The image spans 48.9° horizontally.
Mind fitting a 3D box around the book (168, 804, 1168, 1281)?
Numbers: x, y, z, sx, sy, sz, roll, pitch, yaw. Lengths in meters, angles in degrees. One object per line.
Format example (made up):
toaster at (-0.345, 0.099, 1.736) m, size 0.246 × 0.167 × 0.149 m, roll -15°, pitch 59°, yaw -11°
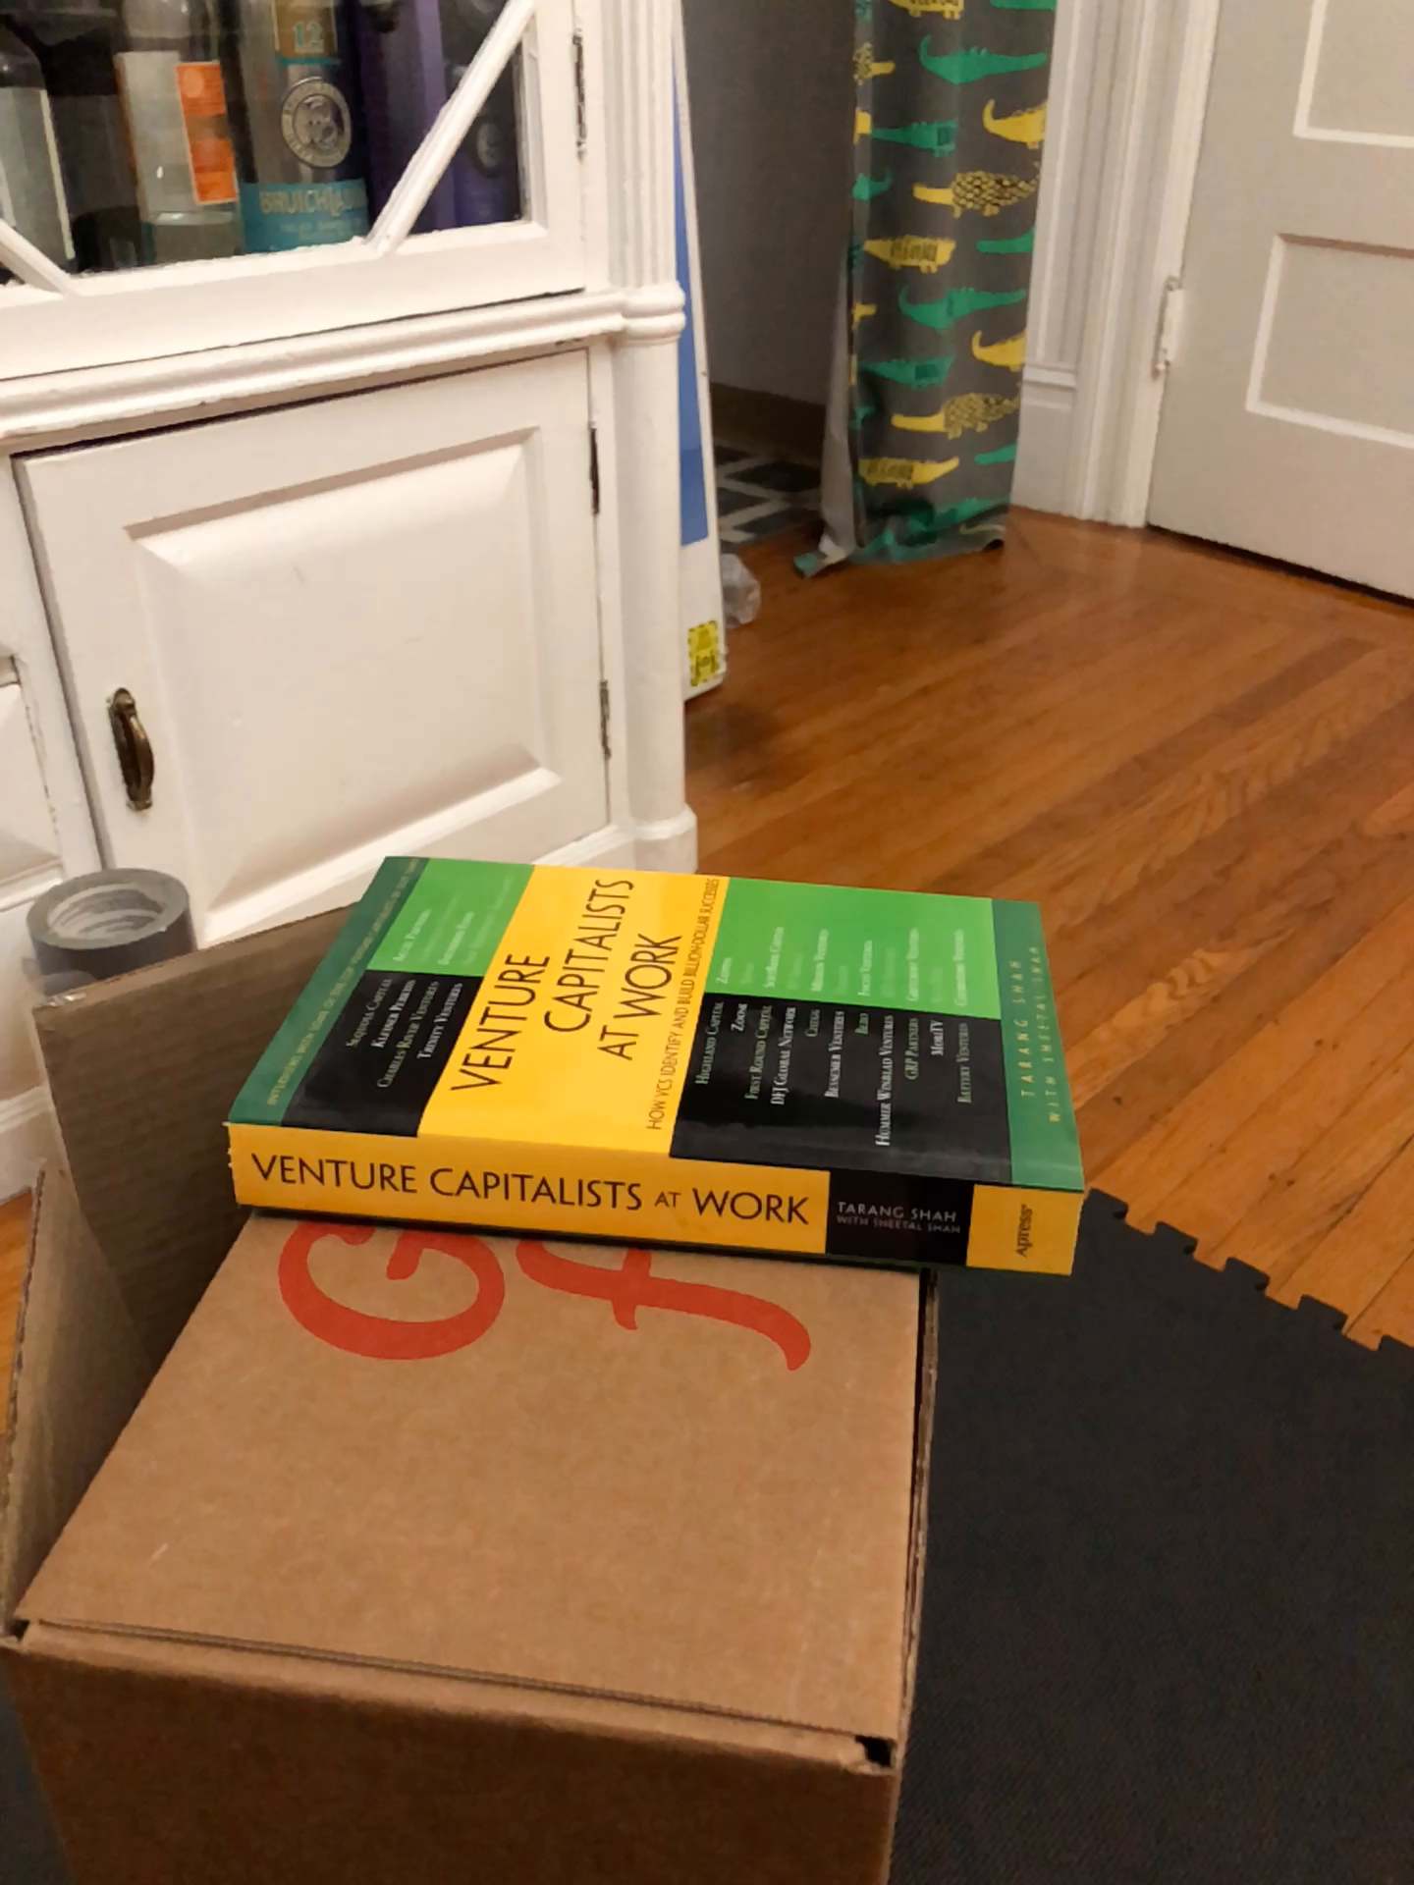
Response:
book at (-0.005, 0.020, 0.479) m, size 0.260 × 0.040 × 0.161 m, roll 4°, pitch 32°, yaw 6°
